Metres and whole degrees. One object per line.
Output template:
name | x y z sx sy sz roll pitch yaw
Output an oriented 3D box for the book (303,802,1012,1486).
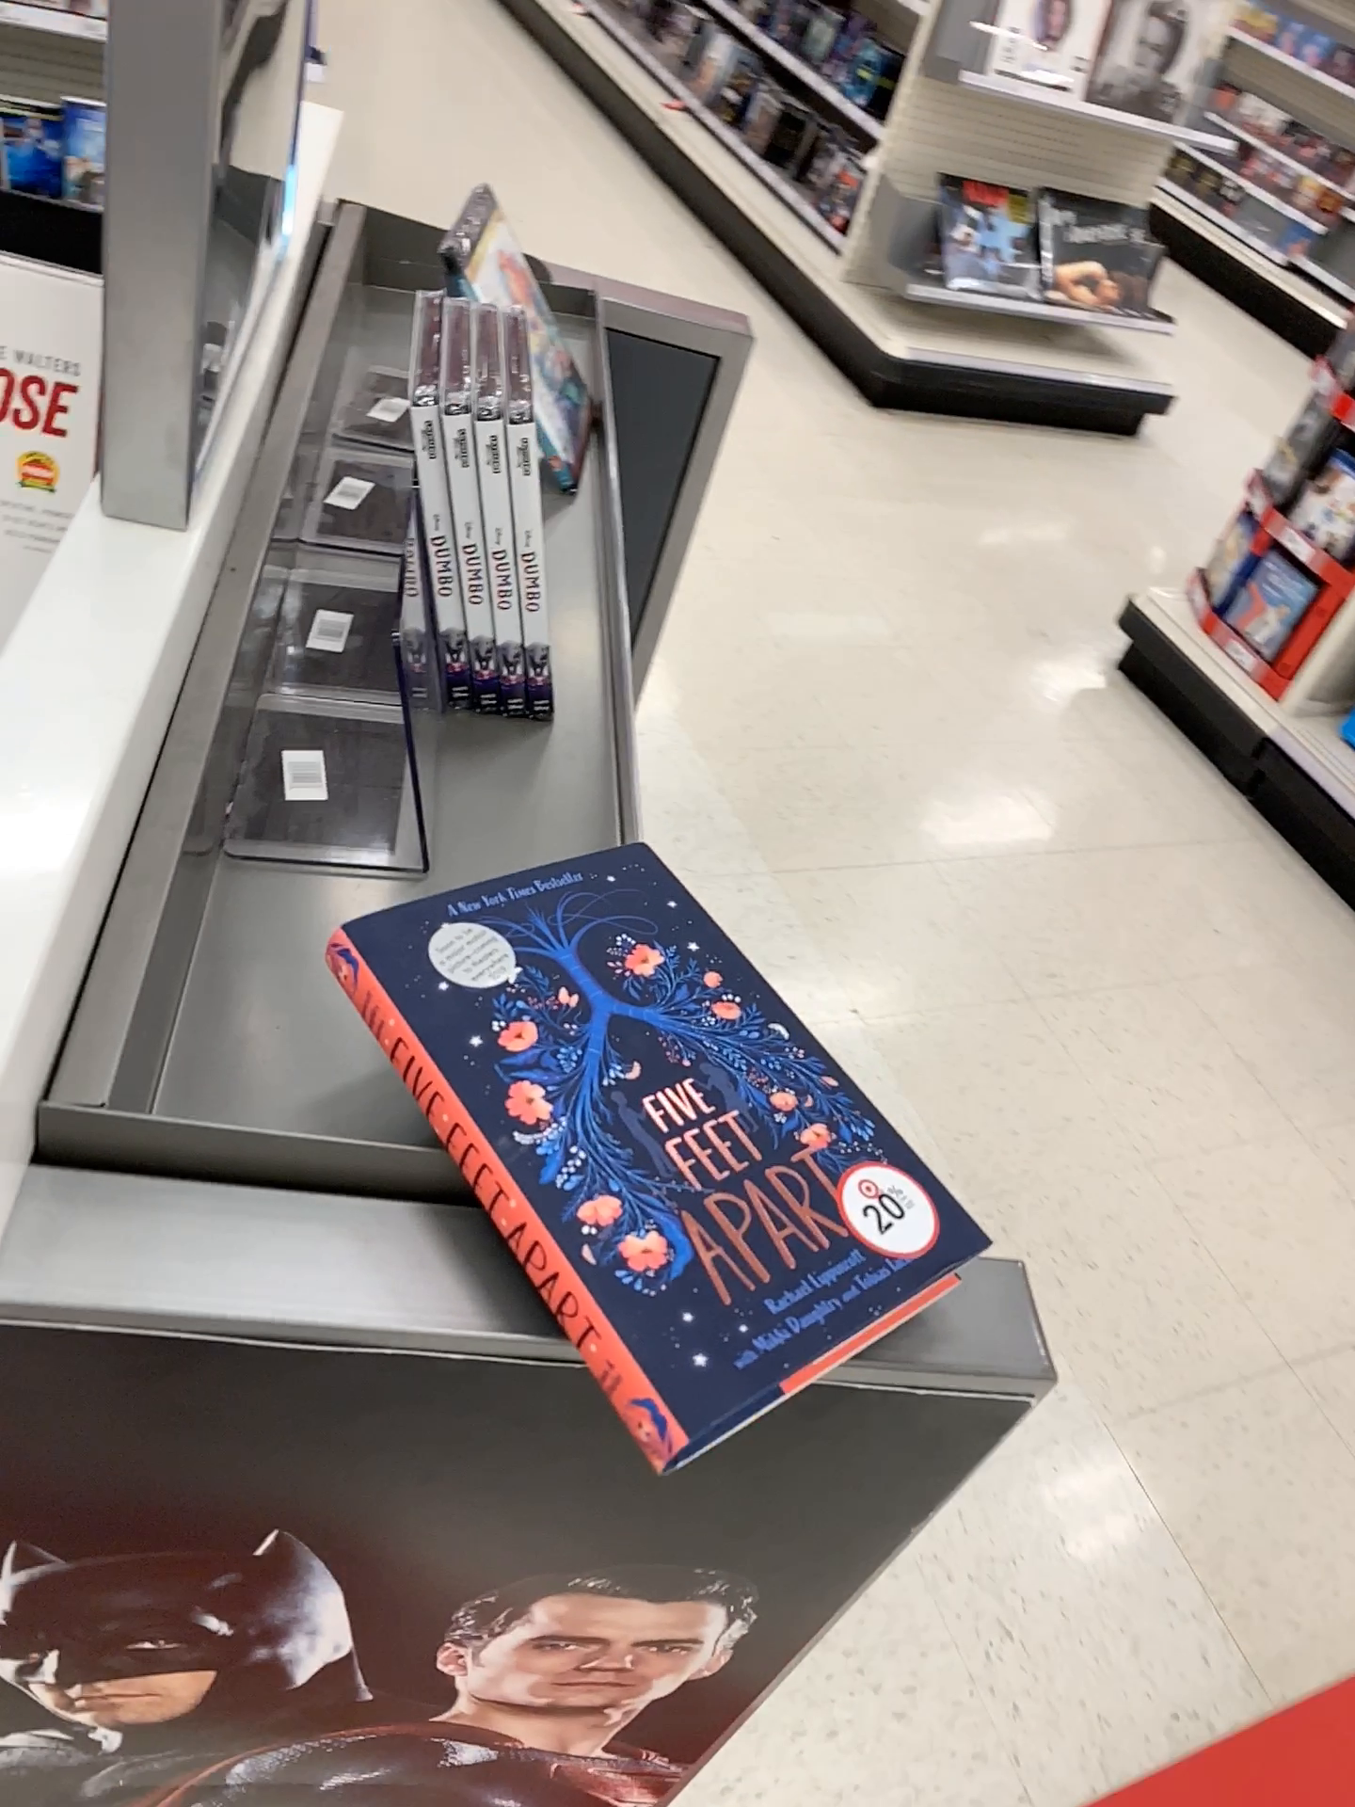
book | -0.010 0.064 0.486 0.151 0.028 0.220 -19 58 -37
